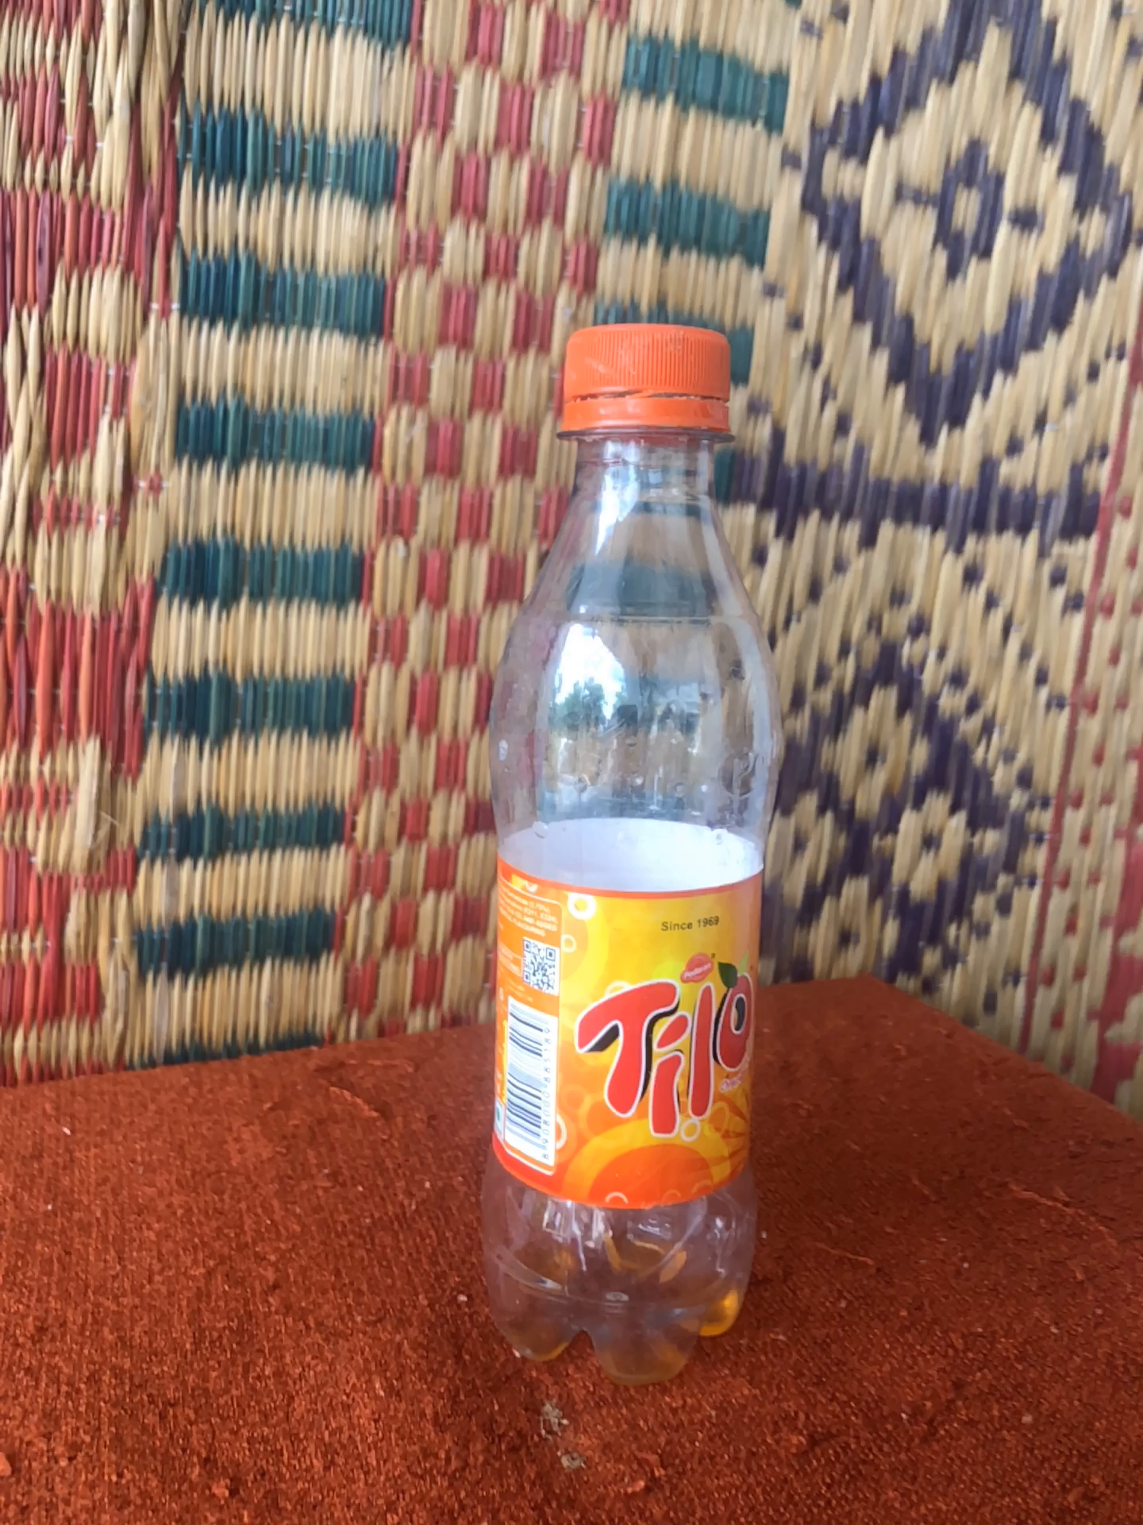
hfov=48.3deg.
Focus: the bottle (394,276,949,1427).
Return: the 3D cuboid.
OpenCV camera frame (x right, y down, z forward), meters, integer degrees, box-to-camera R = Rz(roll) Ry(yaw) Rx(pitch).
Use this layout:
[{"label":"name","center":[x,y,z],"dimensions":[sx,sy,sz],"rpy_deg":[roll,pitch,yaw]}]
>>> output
[{"label":"bottle","center":[0.012,0.017,0.237],"dimensions":[0.070,0.189,0.050],"rpy_deg":[-1,13,-23]}]
